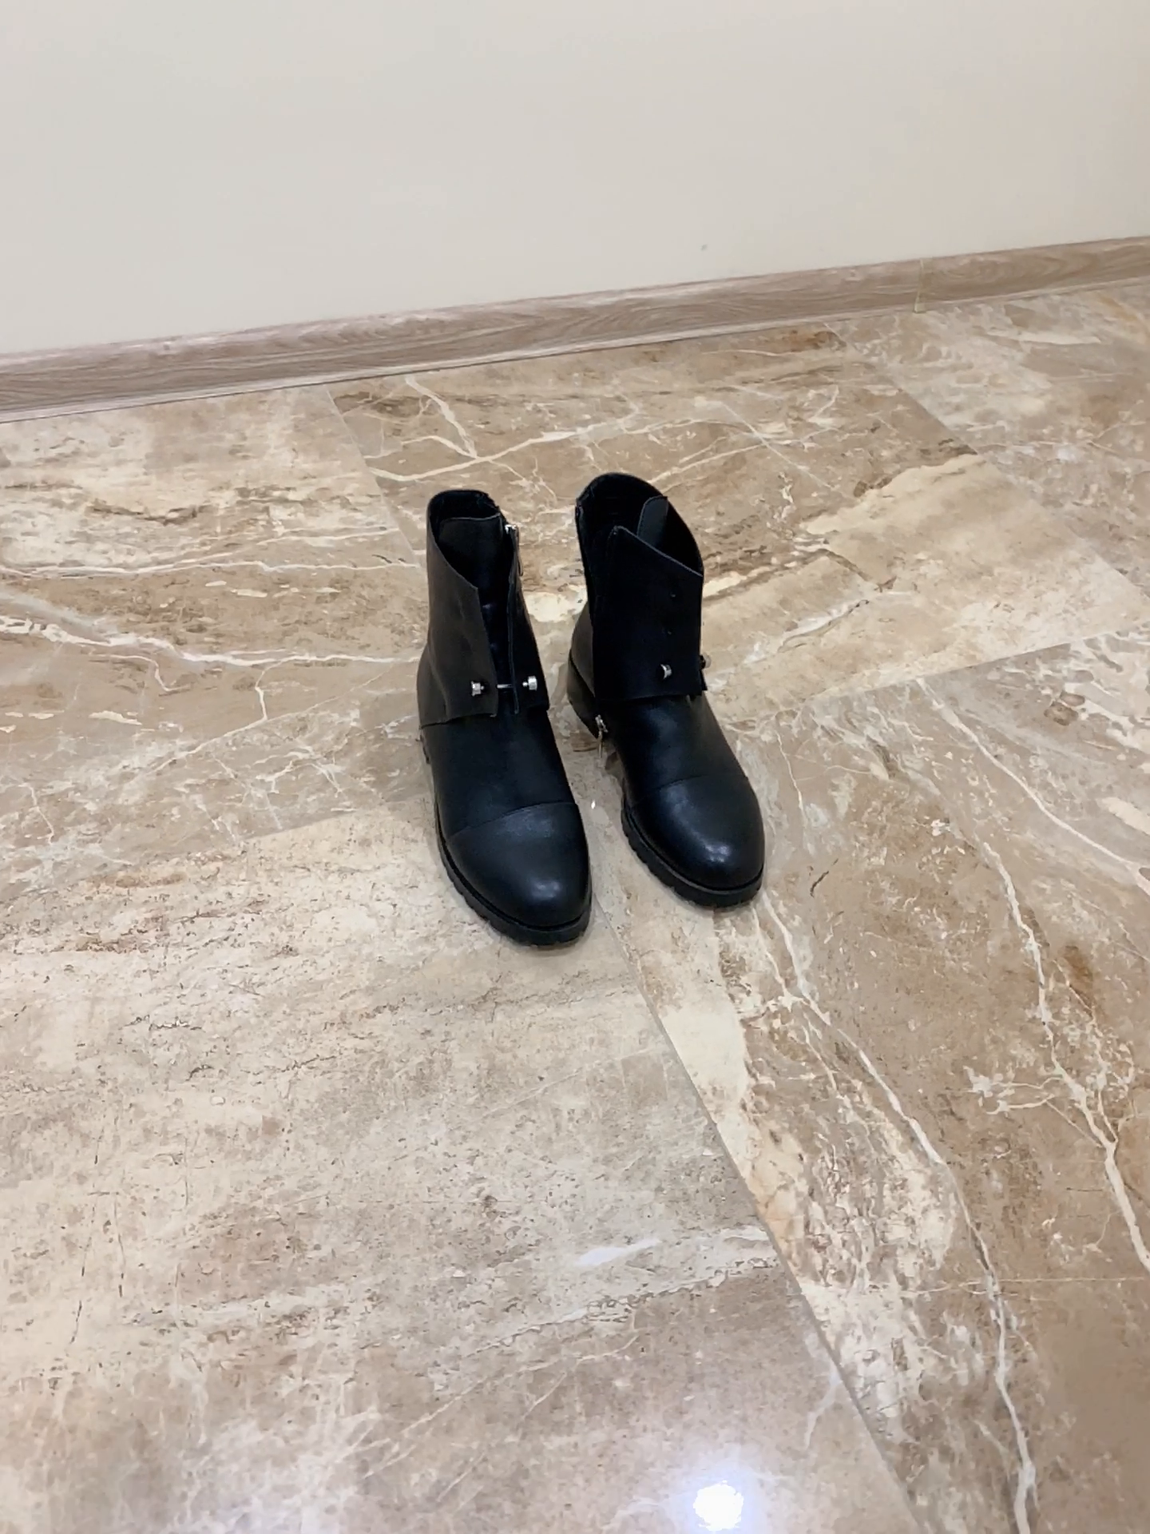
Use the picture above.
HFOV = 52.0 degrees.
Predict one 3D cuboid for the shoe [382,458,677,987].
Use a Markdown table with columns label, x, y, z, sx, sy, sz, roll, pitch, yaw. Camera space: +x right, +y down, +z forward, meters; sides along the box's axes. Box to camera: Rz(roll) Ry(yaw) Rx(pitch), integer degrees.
| label | x | y | z | sx | sy | sz | roll | pitch | yaw |
| --- | --- | --- | --- | --- | --- | --- | --- | --- | --- |
| shoe | -0.043 | -0.032 | 0.735 | 0.090 | 0.199 | 0.251 | -12 | 50 | -18 |

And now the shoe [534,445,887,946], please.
| label | x | y | z | sx | sy | sz | roll | pitch | yaw |
| --- | --- | --- | --- | --- | --- | --- | --- | --- | --- |
| shoe | 0.069 | -0.052 | 0.770 | 0.090 | 0.199 | 0.251 | -14 | 48 | -20 |
